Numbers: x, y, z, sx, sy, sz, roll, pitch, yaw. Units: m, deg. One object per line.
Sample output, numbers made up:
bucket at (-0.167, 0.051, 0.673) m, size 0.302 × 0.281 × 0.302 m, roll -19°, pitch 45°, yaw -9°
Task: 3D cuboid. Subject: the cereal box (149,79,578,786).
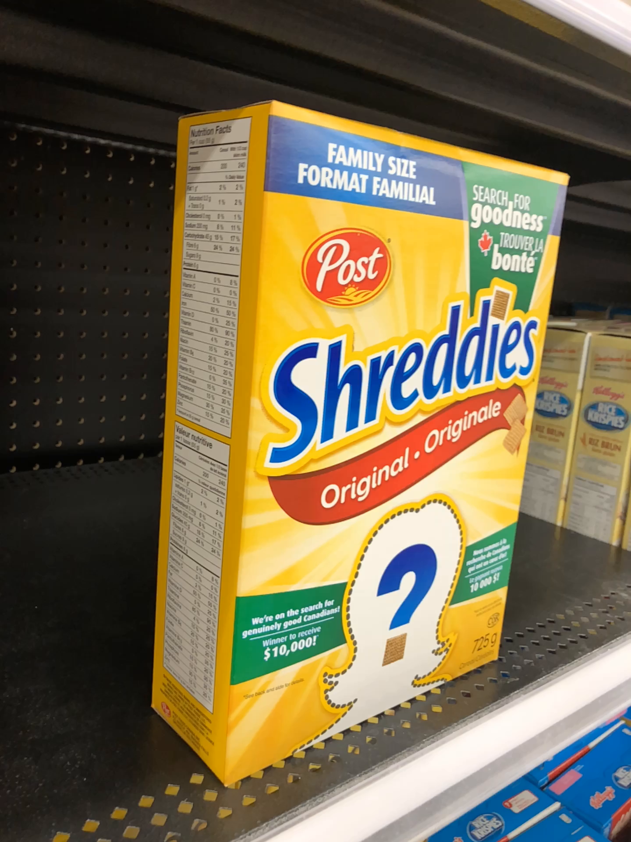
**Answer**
cereal box at (0.029, 0.003, 0.372) m, size 0.210 × 0.289 × 0.070 m, roll -5°, pitch 15°, yaw -40°
